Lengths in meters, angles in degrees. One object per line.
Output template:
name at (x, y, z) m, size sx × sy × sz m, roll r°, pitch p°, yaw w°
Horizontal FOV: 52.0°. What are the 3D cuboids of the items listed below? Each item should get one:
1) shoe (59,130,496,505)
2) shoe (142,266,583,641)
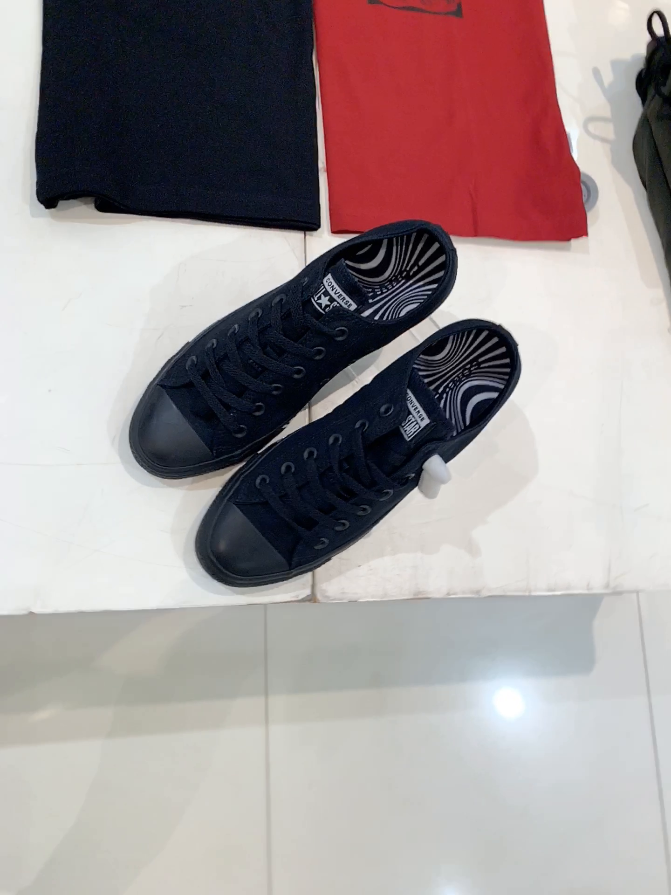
shoe at (-0.040, -0.087, 0.500) m, size 0.290 × 0.100 × 0.090 m, roll -35°, pitch 95°, yaw 4°
shoe at (0.017, 0.004, 0.484) m, size 0.270 × 0.100 × 0.100 m, roll -35°, pitch 91°, yaw 6°
